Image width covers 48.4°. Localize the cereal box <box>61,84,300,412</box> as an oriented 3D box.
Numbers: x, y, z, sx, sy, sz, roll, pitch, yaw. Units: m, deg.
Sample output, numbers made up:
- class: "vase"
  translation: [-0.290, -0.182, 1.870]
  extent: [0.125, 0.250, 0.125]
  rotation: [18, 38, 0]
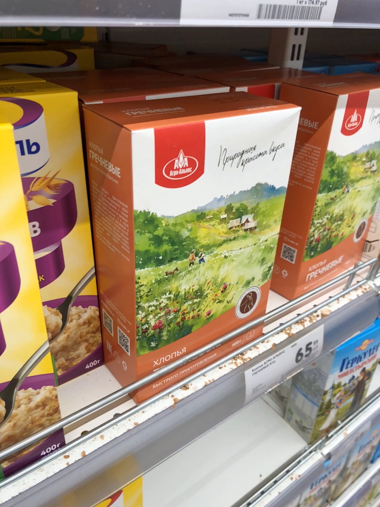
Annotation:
- class: "cereal box"
  translation: [-0.003, -0.006, 0.301]
  extent: [0.140, 0.199, 0.050]
  rotation: [-20, 37, -33]
